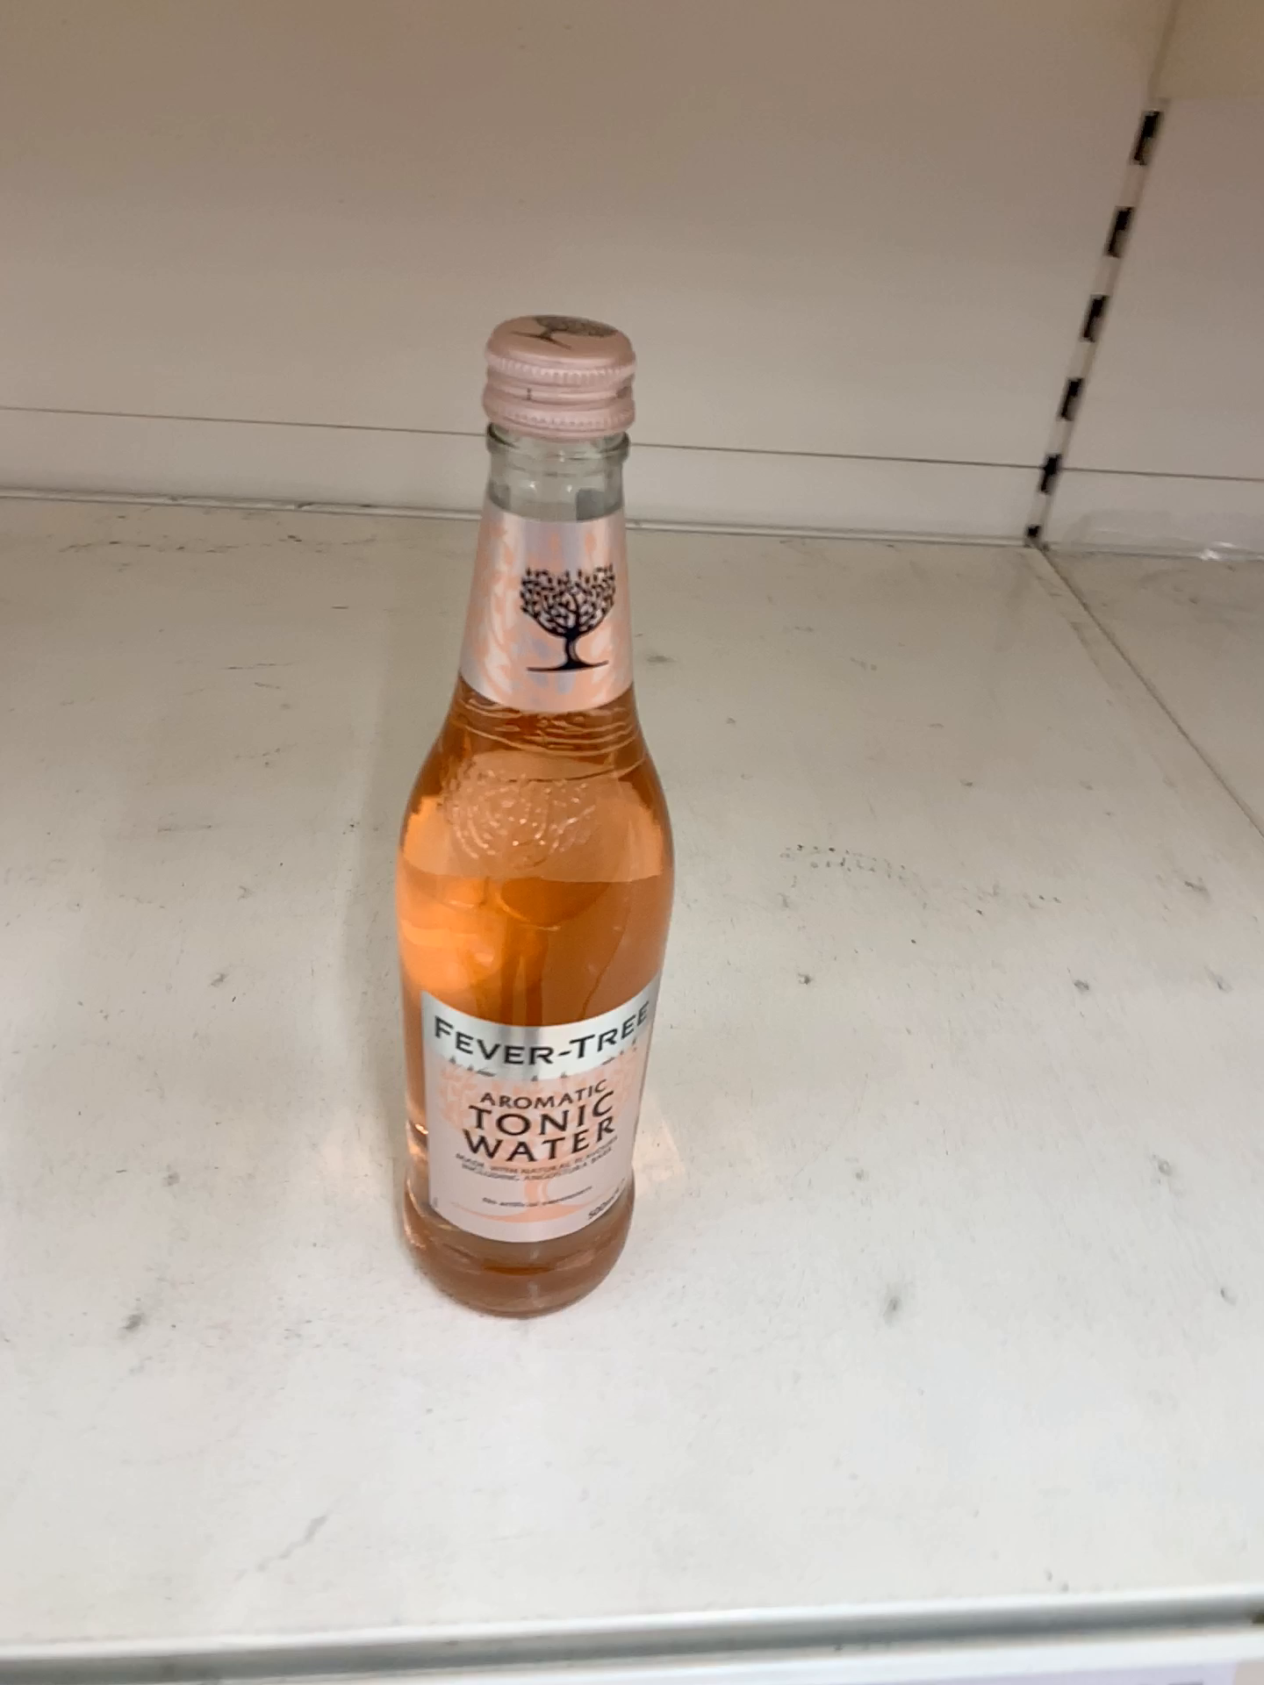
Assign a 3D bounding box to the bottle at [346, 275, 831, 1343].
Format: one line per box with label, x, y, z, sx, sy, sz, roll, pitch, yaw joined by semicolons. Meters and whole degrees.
bottle;-0.022;0.011;0.307;0.078;0.253;0.068;-2;37;-11
